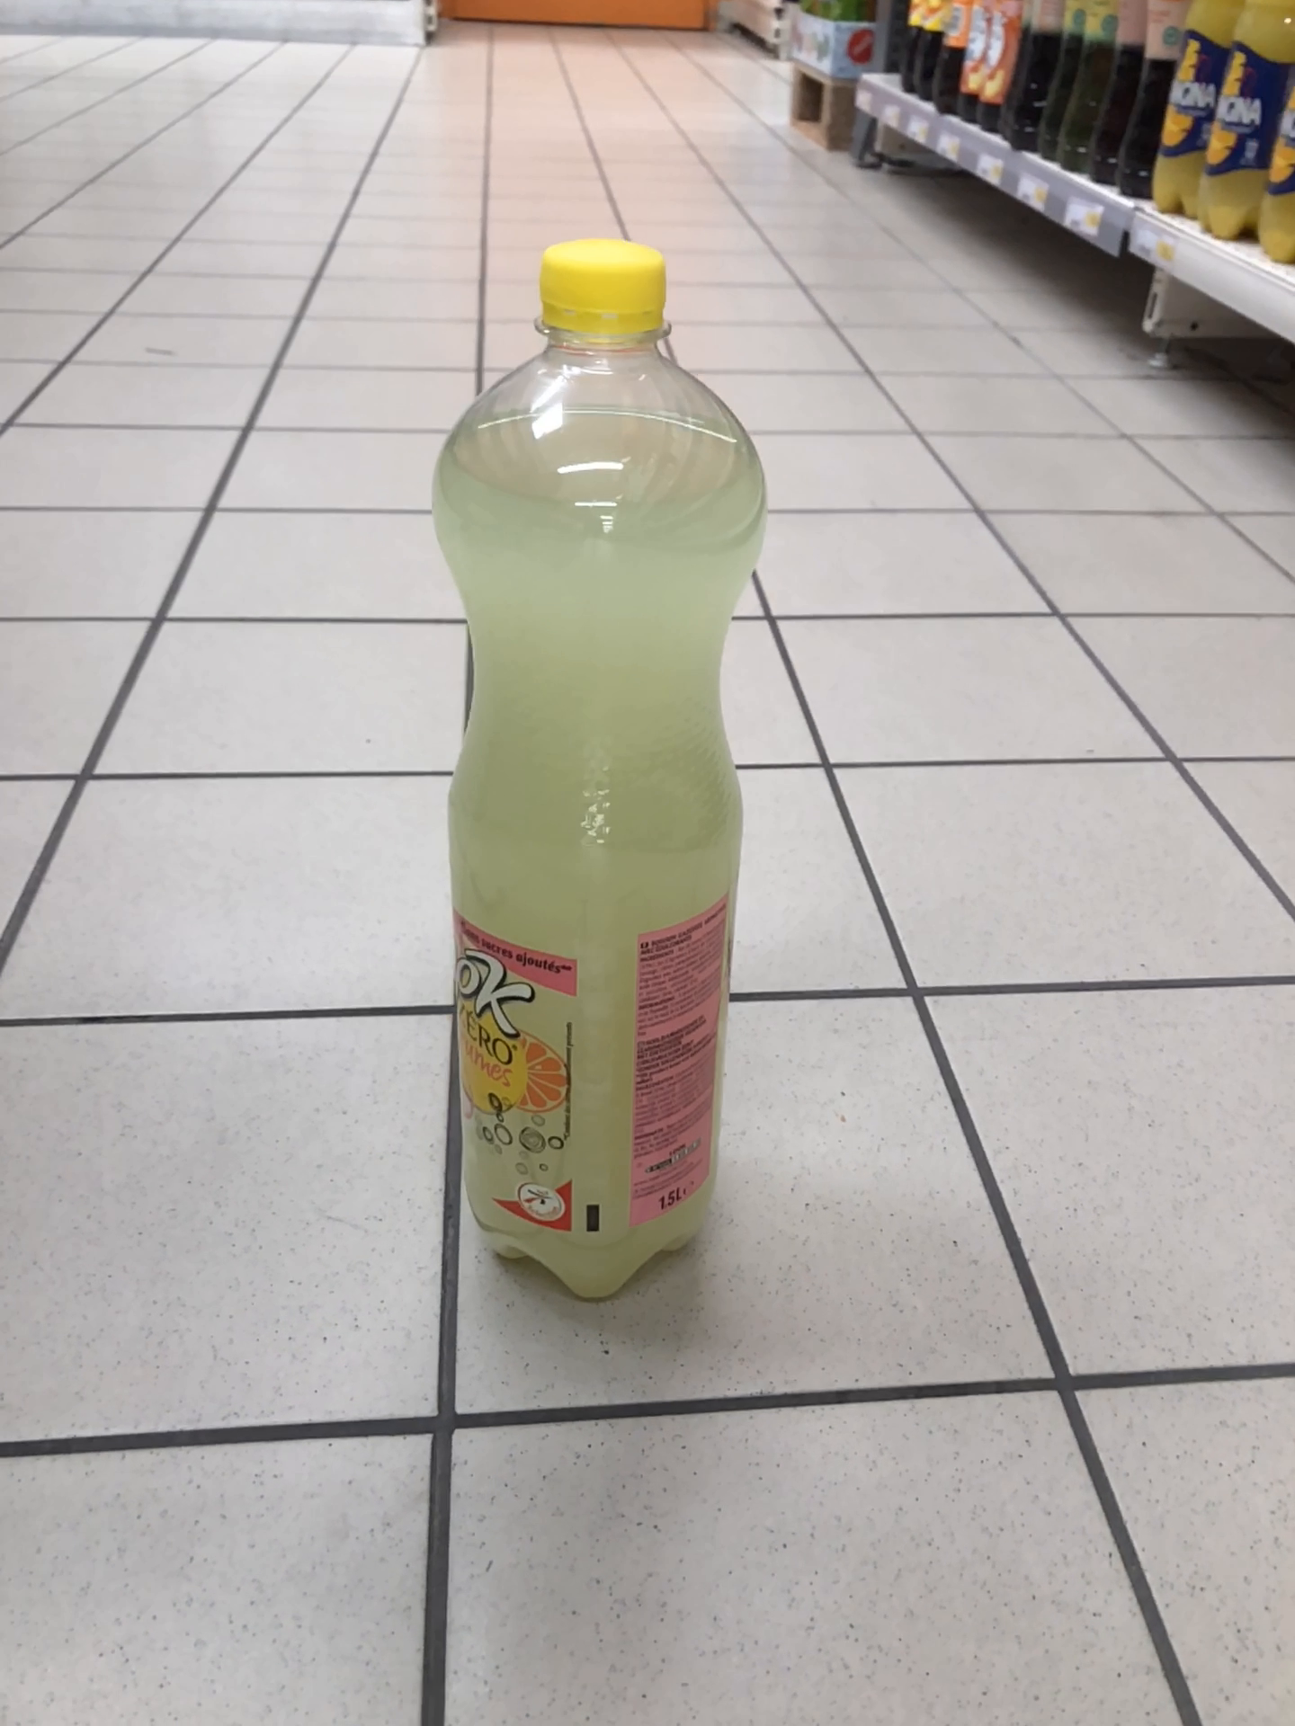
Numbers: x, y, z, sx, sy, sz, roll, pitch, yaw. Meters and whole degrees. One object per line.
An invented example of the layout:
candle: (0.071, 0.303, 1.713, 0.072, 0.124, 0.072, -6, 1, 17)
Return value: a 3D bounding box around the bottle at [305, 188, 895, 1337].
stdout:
bottle: (-0.021, -0.021, 0.410, 0.100, 0.298, 0.110, 2, 33, -1)
